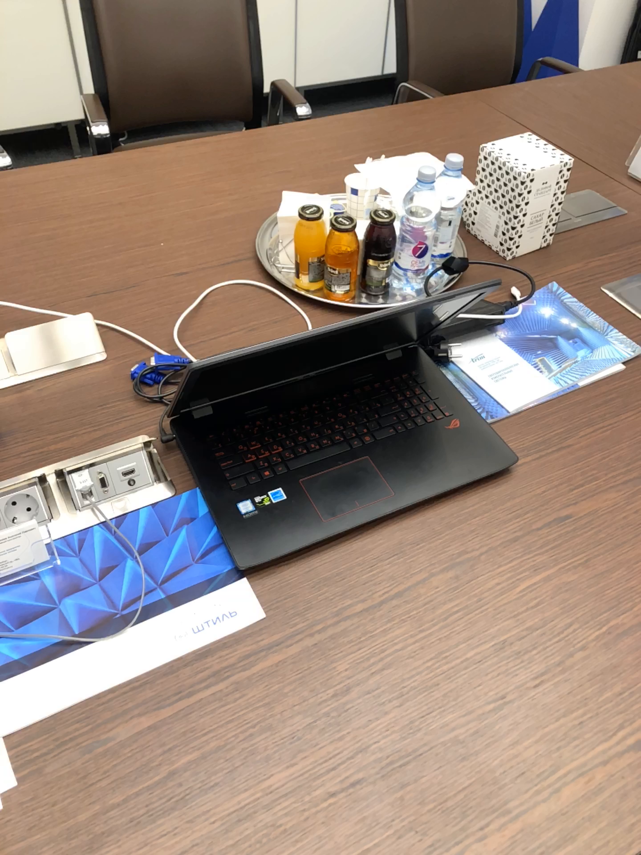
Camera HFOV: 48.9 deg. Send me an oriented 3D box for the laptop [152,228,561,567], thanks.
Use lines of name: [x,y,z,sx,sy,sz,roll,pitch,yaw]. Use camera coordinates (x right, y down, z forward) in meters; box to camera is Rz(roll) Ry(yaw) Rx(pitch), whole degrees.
laptop: [0.034,-0.052,0.829,0.377,0.189,0.237,-18,51,-20]
